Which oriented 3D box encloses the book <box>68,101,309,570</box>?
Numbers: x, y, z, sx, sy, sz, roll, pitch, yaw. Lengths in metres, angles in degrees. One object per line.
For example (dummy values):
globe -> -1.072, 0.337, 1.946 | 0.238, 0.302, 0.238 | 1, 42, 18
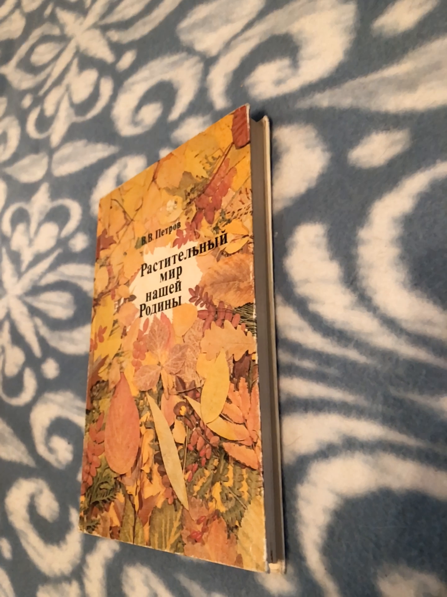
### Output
book -> -0.031, 0.020, 0.277 | 0.157, 0.020, 0.208 | -16, 69, 42
